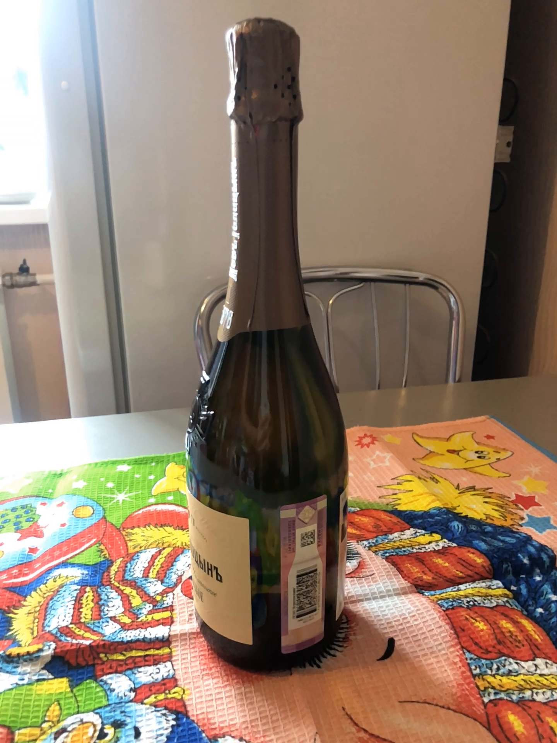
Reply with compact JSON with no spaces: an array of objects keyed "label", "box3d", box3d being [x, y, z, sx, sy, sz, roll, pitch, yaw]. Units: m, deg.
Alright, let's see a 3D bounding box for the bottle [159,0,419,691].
[{"label":"bottle","box3d":[-0.002,-0.004,0.308,0.093,0.309,0.090,0,19,0]}]
